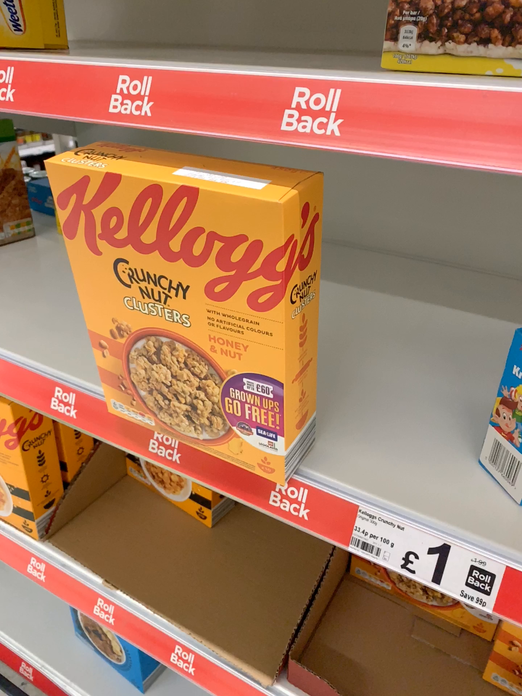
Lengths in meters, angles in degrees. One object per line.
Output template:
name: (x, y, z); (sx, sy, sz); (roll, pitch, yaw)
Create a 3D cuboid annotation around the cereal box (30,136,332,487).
cereal box: (-0.055, -0.028, 0.416); (0.200, 0.228, 0.060); (17, 38, 25)
